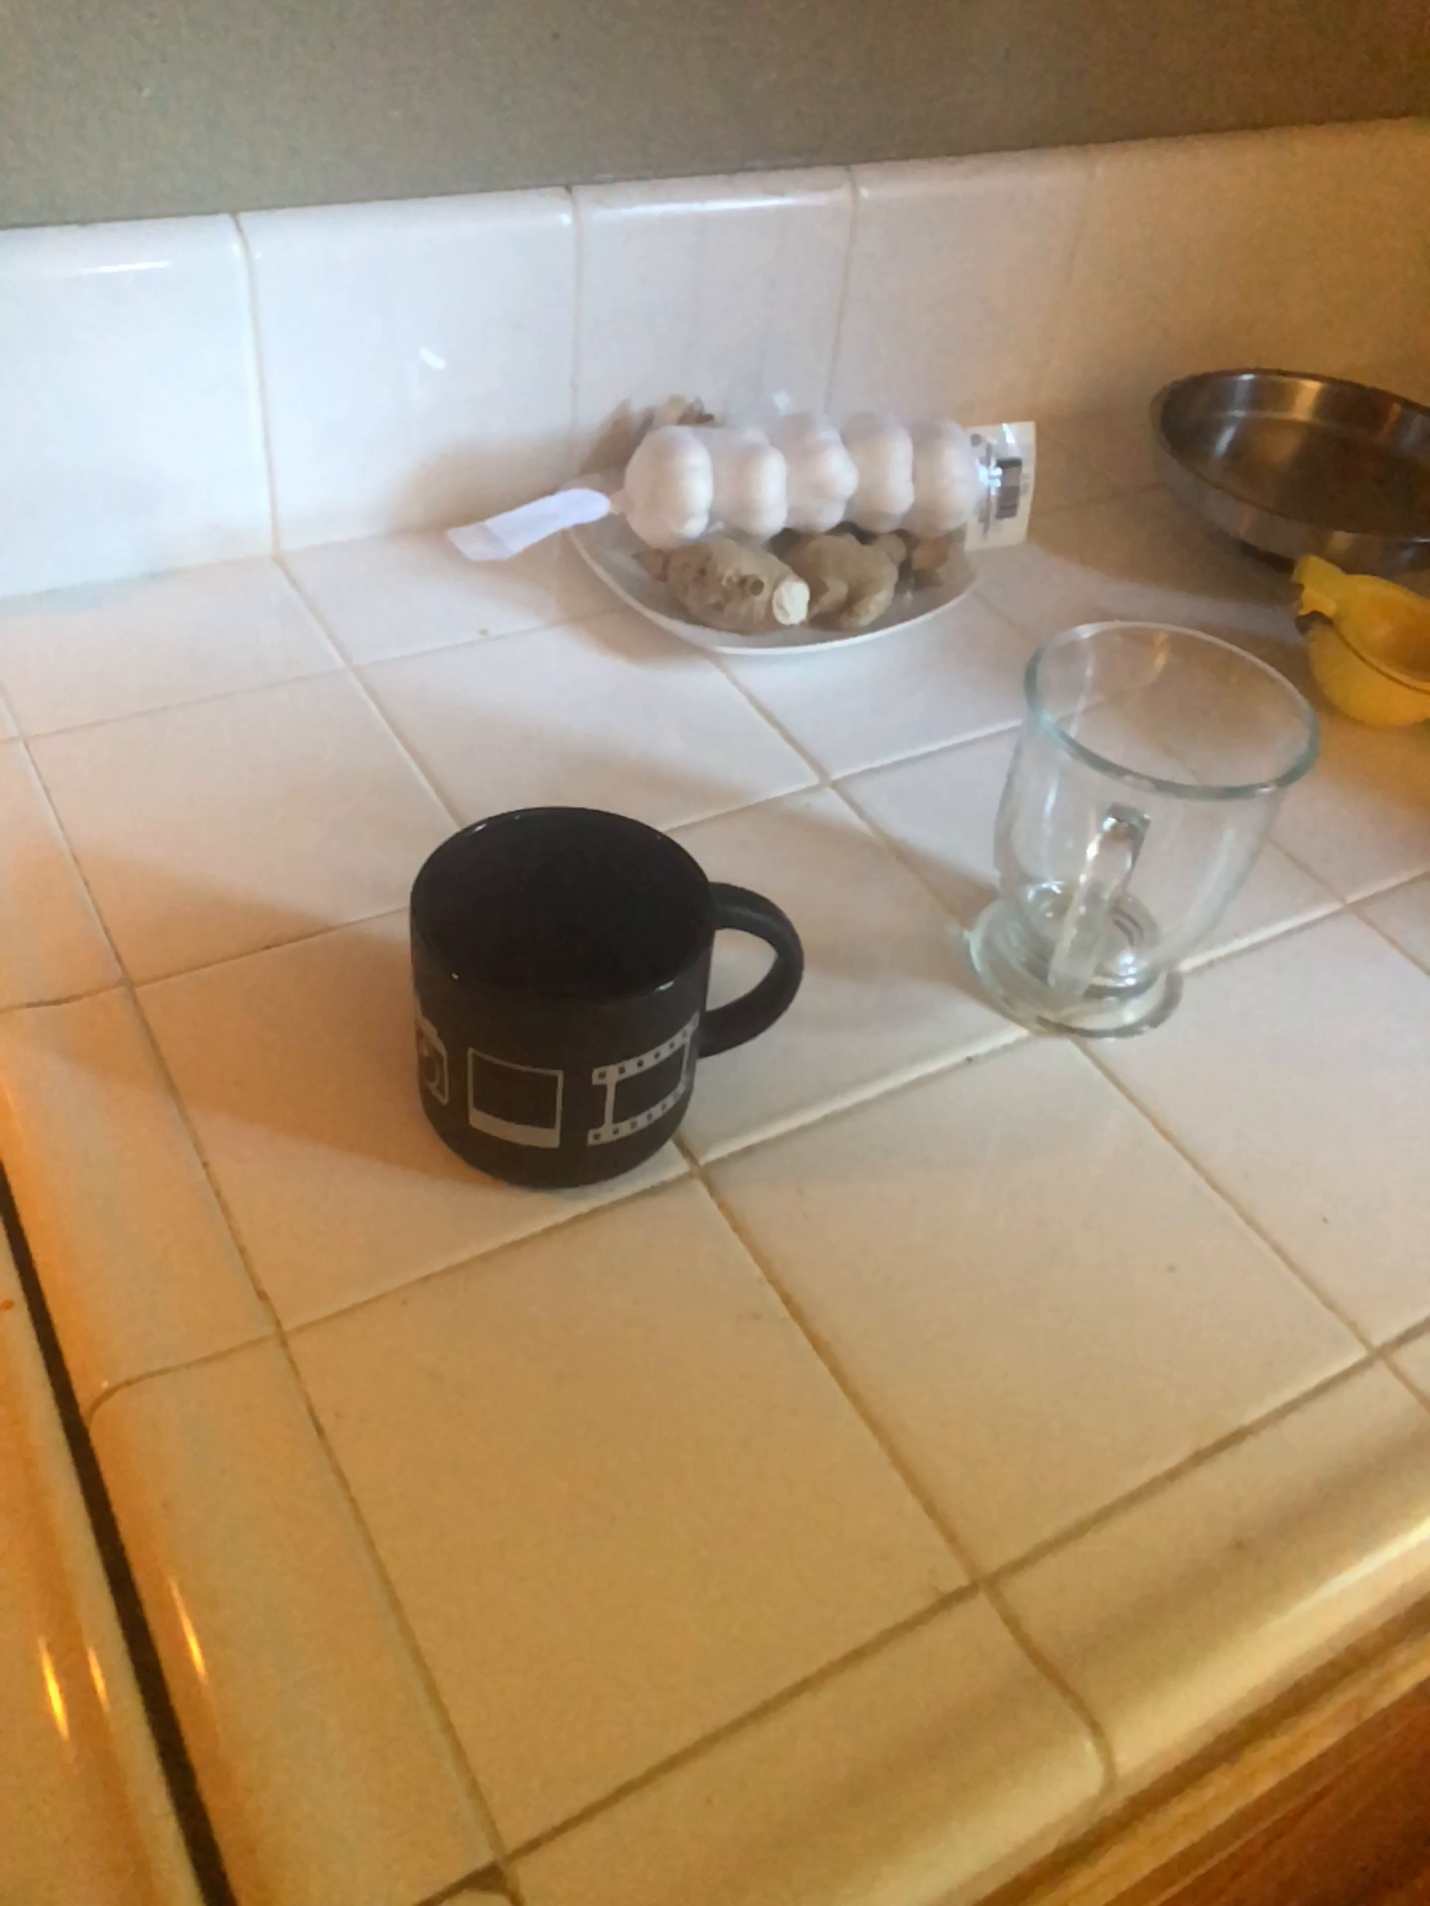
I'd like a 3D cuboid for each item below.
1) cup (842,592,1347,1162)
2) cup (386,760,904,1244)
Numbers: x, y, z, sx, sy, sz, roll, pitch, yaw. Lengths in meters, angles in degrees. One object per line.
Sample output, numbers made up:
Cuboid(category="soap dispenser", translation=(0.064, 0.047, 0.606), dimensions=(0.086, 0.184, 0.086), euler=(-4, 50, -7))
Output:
Cuboid(category="cup", translation=(0.130, -0.031, 0.544), dimensions=(0.100, 0.109, 0.141), euler=(28, 47, 19))
Cuboid(category="cup", translation=(-0.028, 0.012, 0.481), dimensions=(0.130, 0.089, 0.101), euler=(-6, 46, -15))
